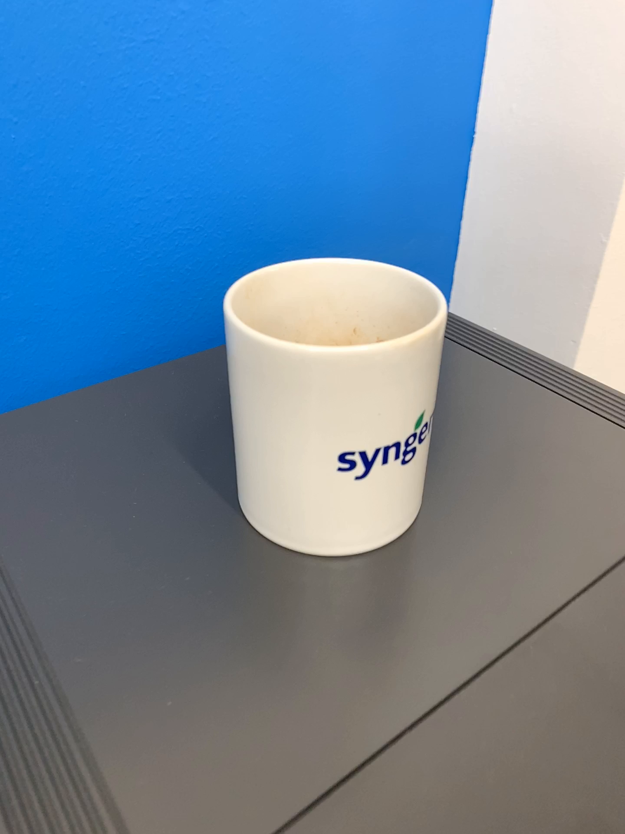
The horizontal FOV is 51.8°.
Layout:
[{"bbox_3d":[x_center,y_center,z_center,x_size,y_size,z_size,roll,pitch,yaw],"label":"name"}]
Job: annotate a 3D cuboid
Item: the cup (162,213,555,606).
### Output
[{"bbox_3d":[0.022,-0.015,0.271,0.088,0.094,0.132,27,42,32],"label":"cup"}]
